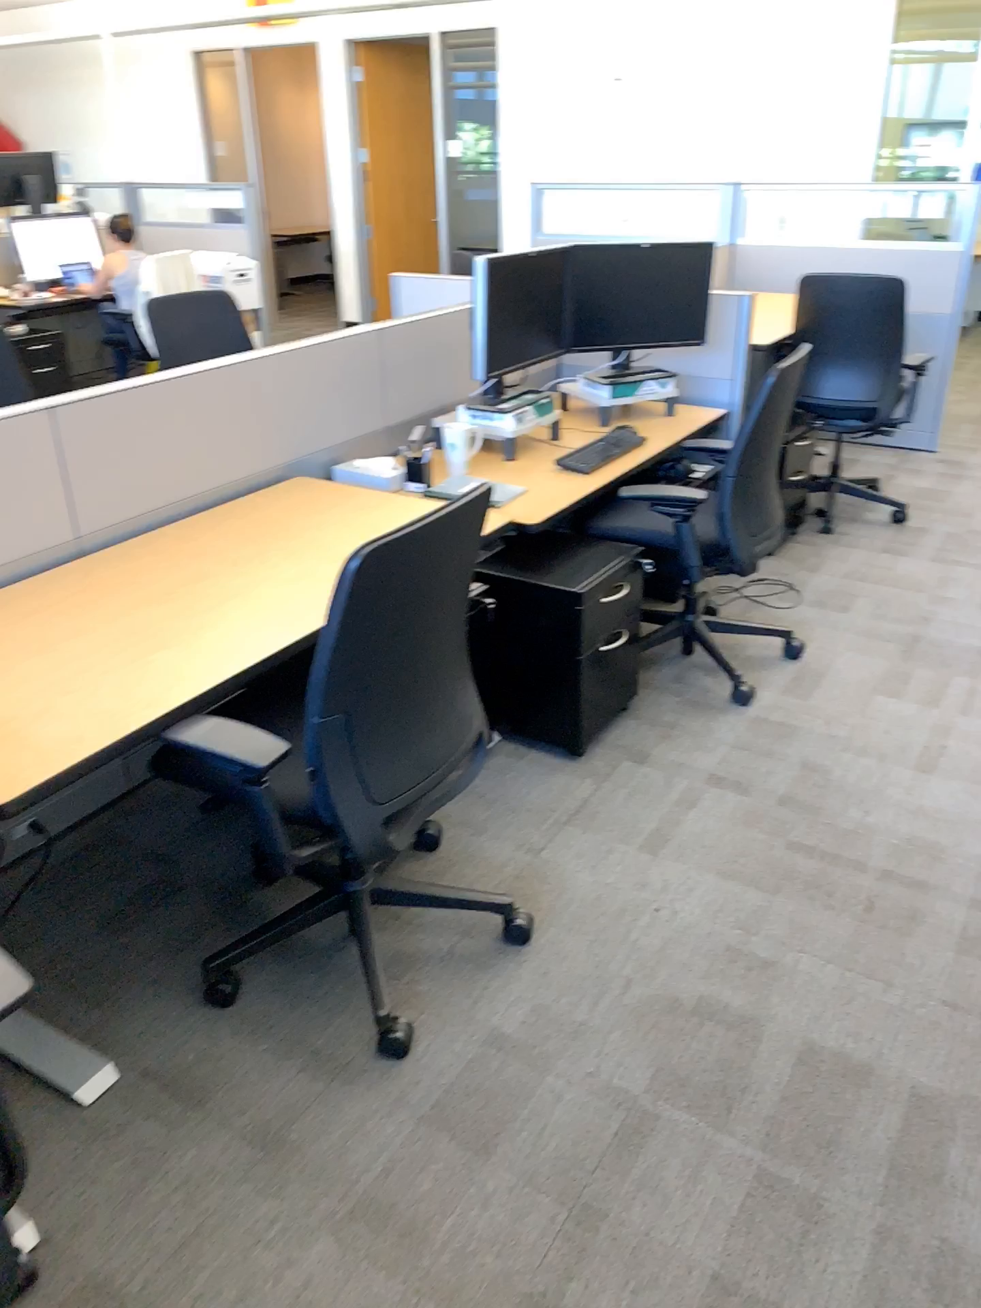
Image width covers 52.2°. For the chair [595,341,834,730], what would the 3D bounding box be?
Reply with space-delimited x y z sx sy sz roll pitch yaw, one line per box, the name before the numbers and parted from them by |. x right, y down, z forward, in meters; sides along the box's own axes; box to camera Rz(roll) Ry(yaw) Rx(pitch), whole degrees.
chair | 0.667 -0.380 3.054 0.461 0.994 0.542 16 31 30

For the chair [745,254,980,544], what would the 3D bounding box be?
chair | 1.561 -1.110 4.234 0.631 0.994 0.763 15 31 29

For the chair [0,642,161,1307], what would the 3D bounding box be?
chair | -0.821 0.616 0.993 0.602 0.994 0.562 21 34 36

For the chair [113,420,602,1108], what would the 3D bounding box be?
chair | -0.192 0.160 1.825 0.581 0.994 0.522 15 31 29
